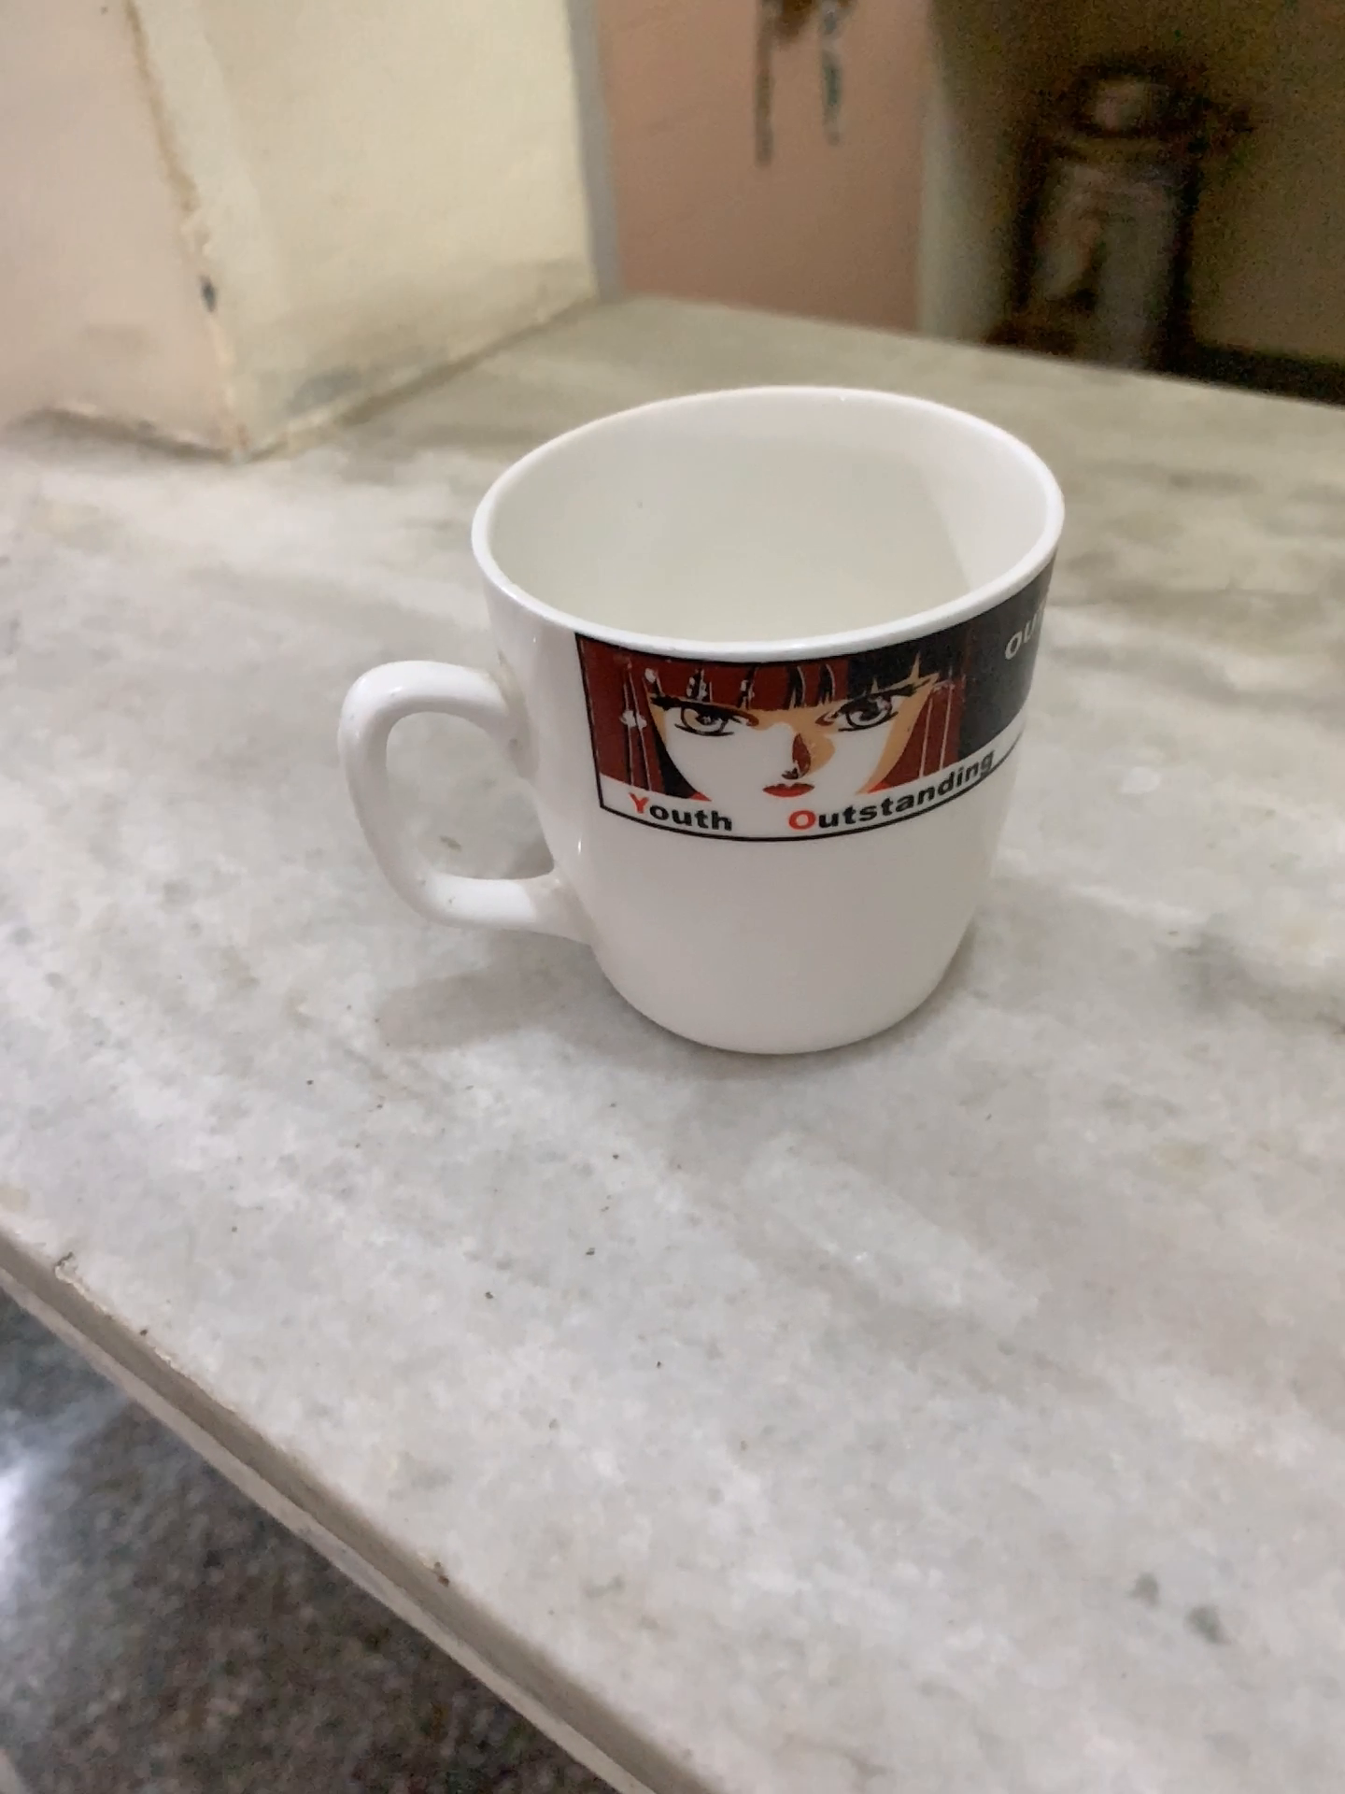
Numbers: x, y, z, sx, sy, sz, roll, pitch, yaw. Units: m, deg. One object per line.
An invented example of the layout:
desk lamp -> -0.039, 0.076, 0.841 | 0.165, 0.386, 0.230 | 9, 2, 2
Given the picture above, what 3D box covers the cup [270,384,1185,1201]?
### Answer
cup -> 0.002, -0.017, 0.182 | 0.090, 0.060, 0.070 | -12, 40, -8
